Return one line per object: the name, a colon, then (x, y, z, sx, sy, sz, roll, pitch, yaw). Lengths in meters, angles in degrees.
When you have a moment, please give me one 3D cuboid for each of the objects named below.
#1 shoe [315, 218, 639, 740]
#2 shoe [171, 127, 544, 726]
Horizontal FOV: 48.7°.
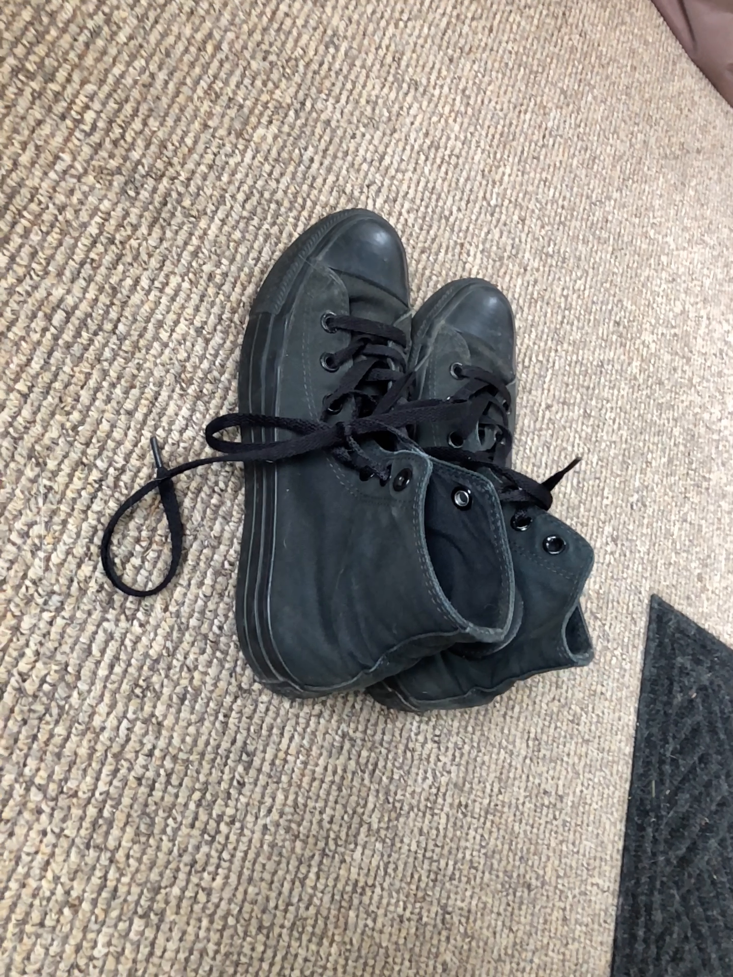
shoe: (0.065, 0.001, 0.439, 0.089, 0.126, 0.243, 24, 64, -37)
shoe: (0.000, -0.018, 0.377, 0.089, 0.126, 0.236, 21, 66, -38)
